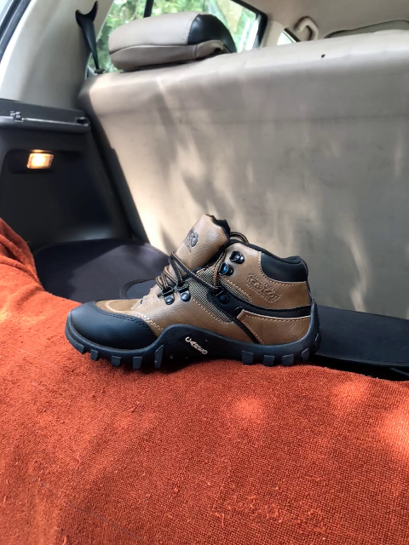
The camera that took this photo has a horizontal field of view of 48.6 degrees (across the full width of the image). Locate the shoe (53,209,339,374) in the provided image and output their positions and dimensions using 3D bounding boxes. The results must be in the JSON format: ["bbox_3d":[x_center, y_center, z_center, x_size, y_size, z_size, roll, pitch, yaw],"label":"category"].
[{"bbox_3d":[-0.010,0.012,0.498,0.270,0.150,0.110,-1,14,-6],"label":"shoe"}]
